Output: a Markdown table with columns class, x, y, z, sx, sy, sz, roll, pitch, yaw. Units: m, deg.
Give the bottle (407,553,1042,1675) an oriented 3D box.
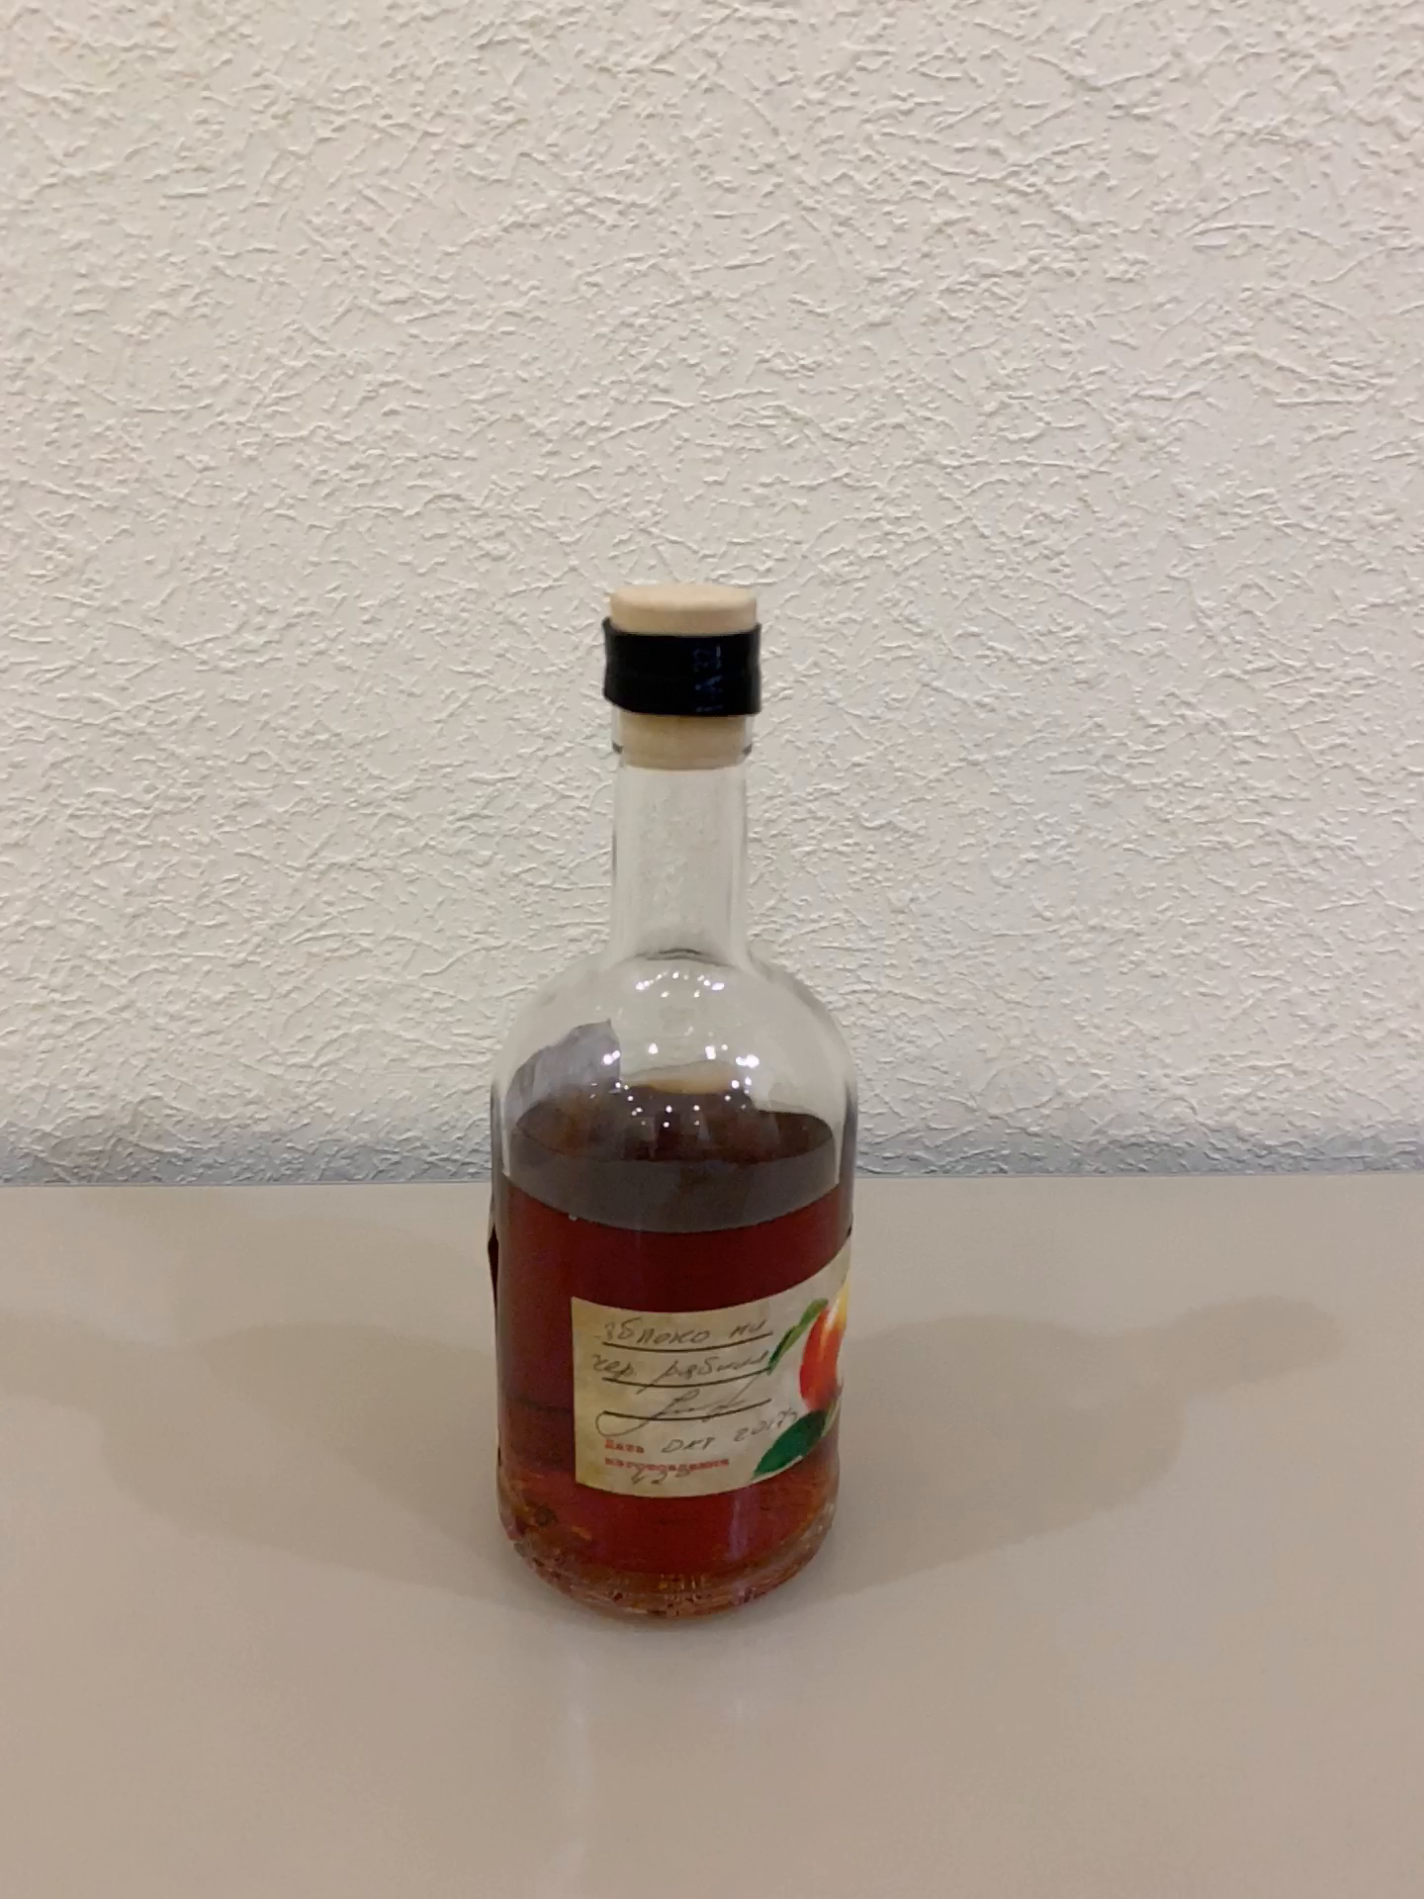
| class | x | y | z | sx | sy | sz | roll | pitch | yaw |
| --- | --- | --- | --- | --- | --- | --- | --- | --- | --- |
| bottle | -0.003 | 0.027 | 0.304 | 0.090 | 0.201 | 0.080 | -9 | 22 | -26 |
